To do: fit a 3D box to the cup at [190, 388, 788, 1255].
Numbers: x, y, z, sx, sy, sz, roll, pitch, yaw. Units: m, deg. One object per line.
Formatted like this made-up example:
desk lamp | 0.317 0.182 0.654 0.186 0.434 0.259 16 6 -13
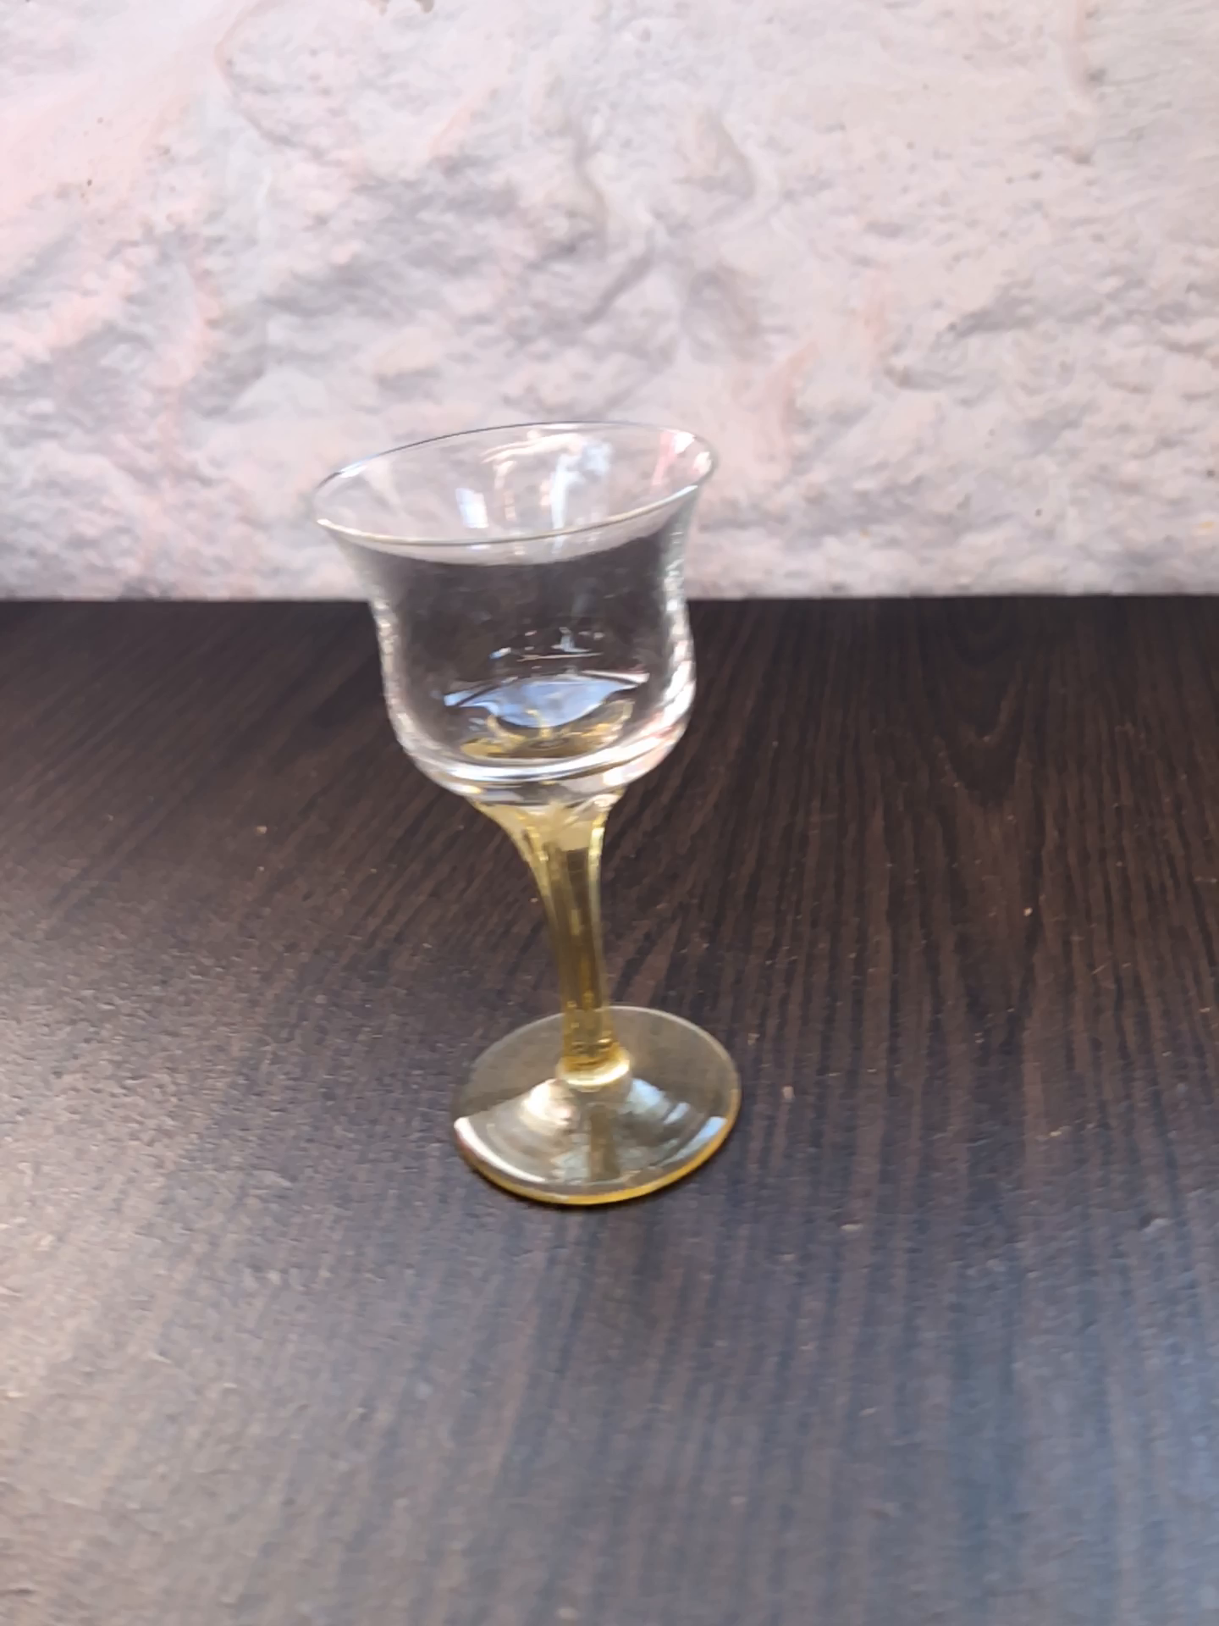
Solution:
cup | -0.007 -0.001 0.179 0.051 0.093 0.059 1 28 13
